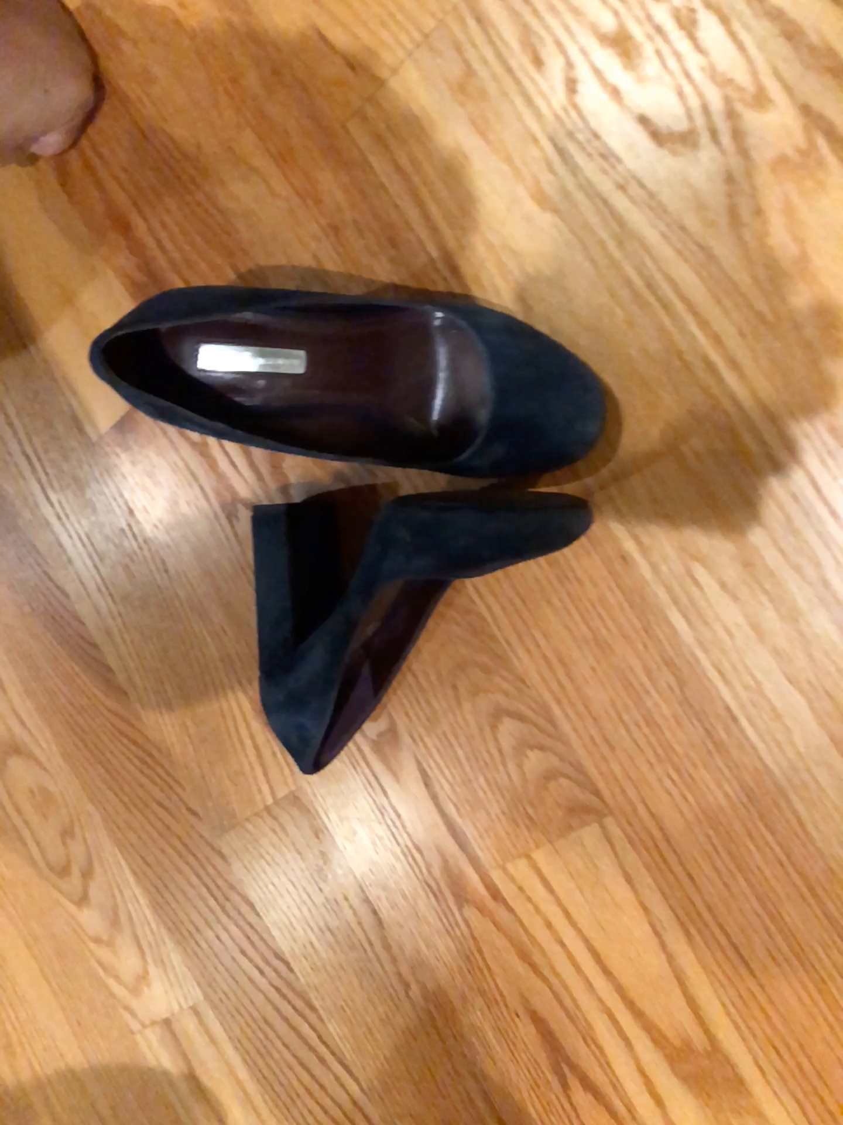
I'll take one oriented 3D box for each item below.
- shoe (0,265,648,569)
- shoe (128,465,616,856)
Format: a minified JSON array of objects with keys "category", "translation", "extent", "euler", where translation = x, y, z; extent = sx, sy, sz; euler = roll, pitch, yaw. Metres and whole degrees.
[{"category":"shoe","translation":[-0.037,-0.072,0.396],"extent":[0.226,0.146,0.080],"euler":[12,106,23]},{"category":"shoe","translation":[-0.023,0.041,0.446],"extent":[0.205,0.080,0.152],"euler":[-2,100,26]}]
